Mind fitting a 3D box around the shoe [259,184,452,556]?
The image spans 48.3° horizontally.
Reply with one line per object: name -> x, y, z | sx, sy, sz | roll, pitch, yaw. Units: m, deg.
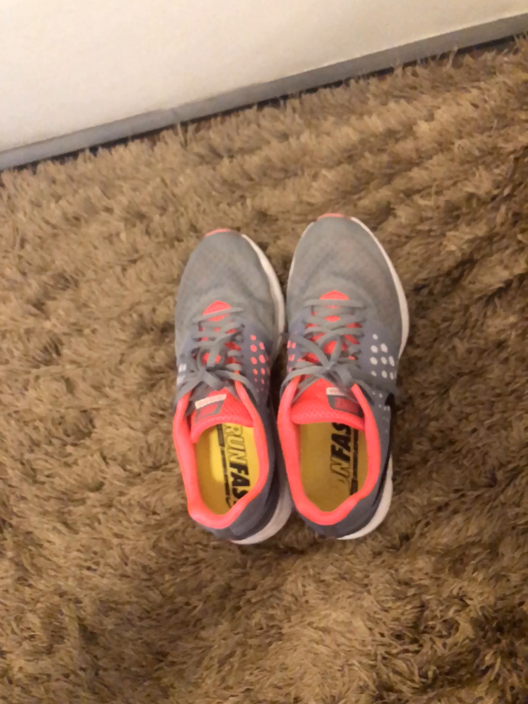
shoe -> 0.074, 0.020, 0.491 | 0.118, 0.119, 0.270 | -6, 75, 12

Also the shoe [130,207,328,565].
shoe -> -0.029, 0.033, 0.522 | 0.113, 0.122, 0.270 | -11, 74, 11
